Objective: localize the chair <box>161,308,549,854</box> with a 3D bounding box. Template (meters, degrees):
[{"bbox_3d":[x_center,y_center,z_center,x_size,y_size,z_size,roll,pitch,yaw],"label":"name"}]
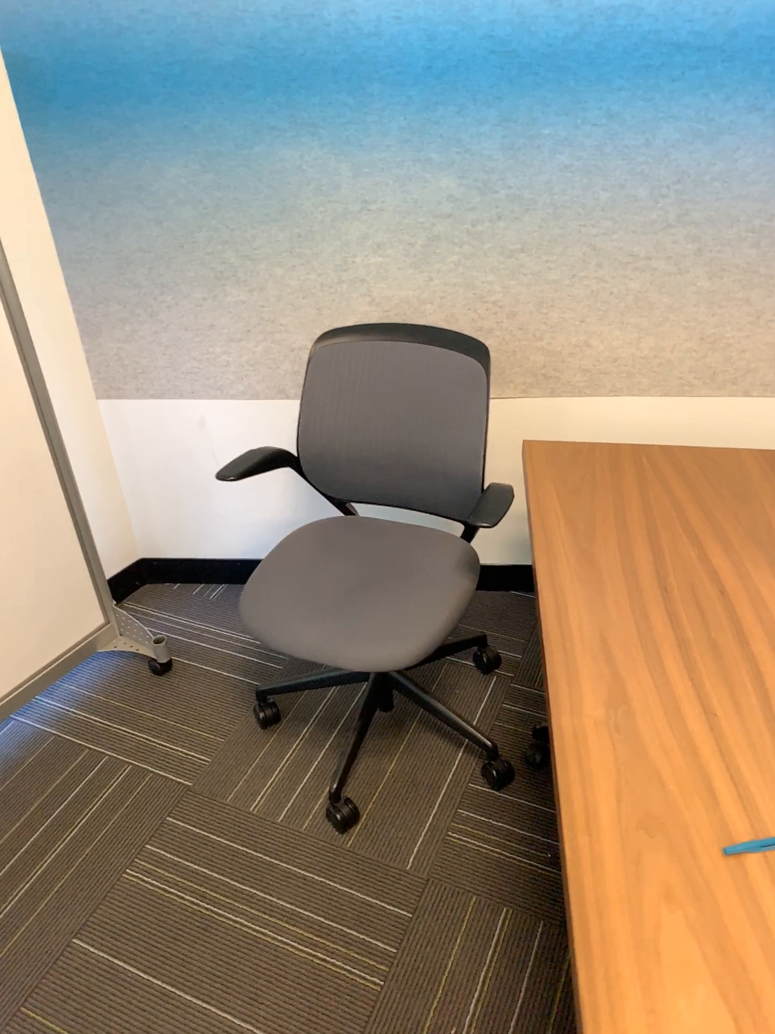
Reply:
[{"bbox_3d":[-0.026,0.110,1.709,0.541,0.935,0.532,13,33,23],"label":"chair"}]
